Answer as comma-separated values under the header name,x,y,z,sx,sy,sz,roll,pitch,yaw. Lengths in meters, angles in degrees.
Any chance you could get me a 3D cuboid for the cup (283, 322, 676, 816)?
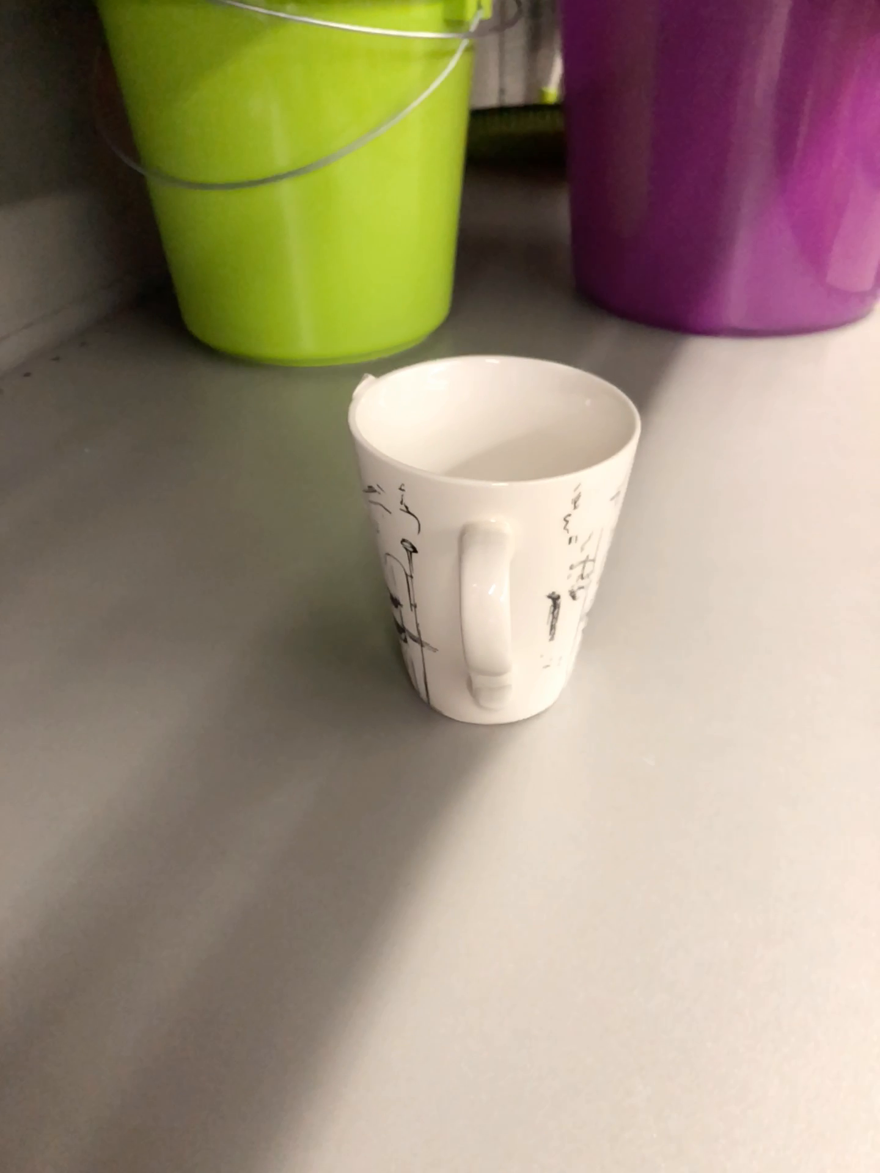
name,x,y,z,sx,sy,sz,roll,pitch,yaw
cup,0.015,-0.011,0.300,0.091,0.098,0.115,4,36,6
